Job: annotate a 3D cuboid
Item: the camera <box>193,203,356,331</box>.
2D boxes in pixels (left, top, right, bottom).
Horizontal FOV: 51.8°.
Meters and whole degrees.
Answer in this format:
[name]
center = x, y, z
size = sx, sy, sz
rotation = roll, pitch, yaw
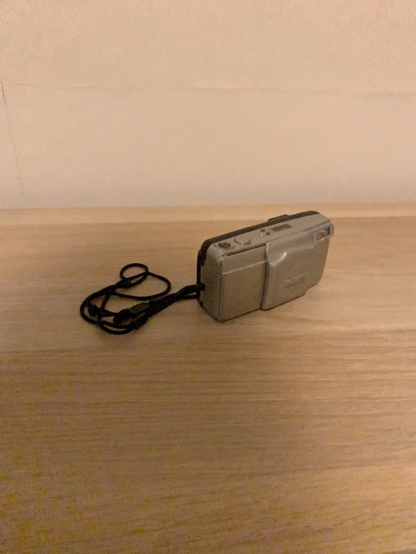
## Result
[camera]
center = 0.054, -0.012, 0.350
size = 0.126, 0.059, 0.046
rotation = -18, 38, -28
